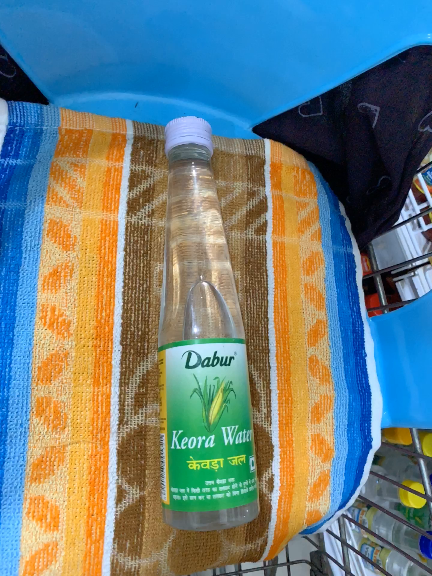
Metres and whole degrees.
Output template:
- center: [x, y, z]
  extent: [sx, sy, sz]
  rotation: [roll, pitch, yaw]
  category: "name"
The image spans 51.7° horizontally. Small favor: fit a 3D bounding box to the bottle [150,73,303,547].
- center: [0.000, 0.005, 0.219]
  extent: [0.050, 0.050, 0.200]
  rotation: [-1, 81, -17]
  category: "bottle"
